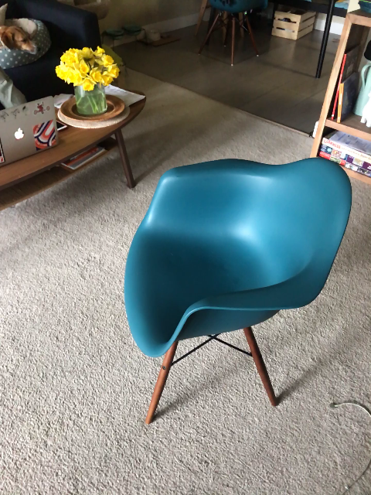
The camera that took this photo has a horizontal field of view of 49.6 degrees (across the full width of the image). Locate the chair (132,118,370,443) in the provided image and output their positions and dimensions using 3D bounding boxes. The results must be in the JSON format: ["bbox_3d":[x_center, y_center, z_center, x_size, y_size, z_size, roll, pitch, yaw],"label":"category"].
[{"bbox_3d":[0.129,0.108,1.234,0.560,0.784,0.584,-1,42,-8],"label":"chair"}]
